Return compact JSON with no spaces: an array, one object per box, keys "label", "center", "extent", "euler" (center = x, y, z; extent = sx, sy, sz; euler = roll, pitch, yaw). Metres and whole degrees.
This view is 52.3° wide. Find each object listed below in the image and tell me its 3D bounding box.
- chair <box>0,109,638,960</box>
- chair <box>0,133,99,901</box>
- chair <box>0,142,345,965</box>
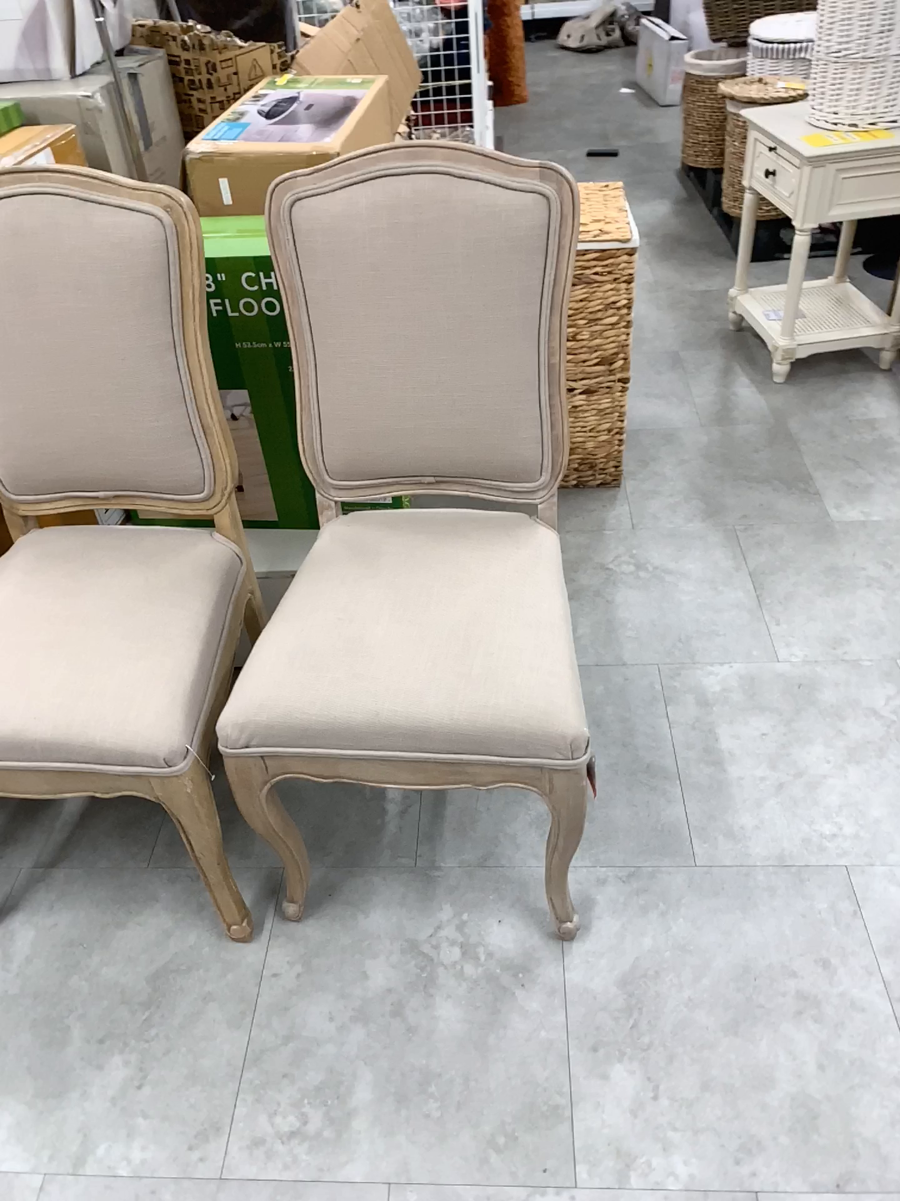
[{"label":"chair","center":[-0.049,-0.028,1.226],"extent":[0.506,0.973,0.550],"euler":[-2,41,6]},{"label":"chair","center":[-1.044,-0.082,1.377],"extent":[0.506,0.973,0.550],"euler":[1,41,10]},{"label":"chair","center":[-0.536,-0.021,1.280],"extent":[0.506,0.973,0.550],"euler":[1,41,10]}]
